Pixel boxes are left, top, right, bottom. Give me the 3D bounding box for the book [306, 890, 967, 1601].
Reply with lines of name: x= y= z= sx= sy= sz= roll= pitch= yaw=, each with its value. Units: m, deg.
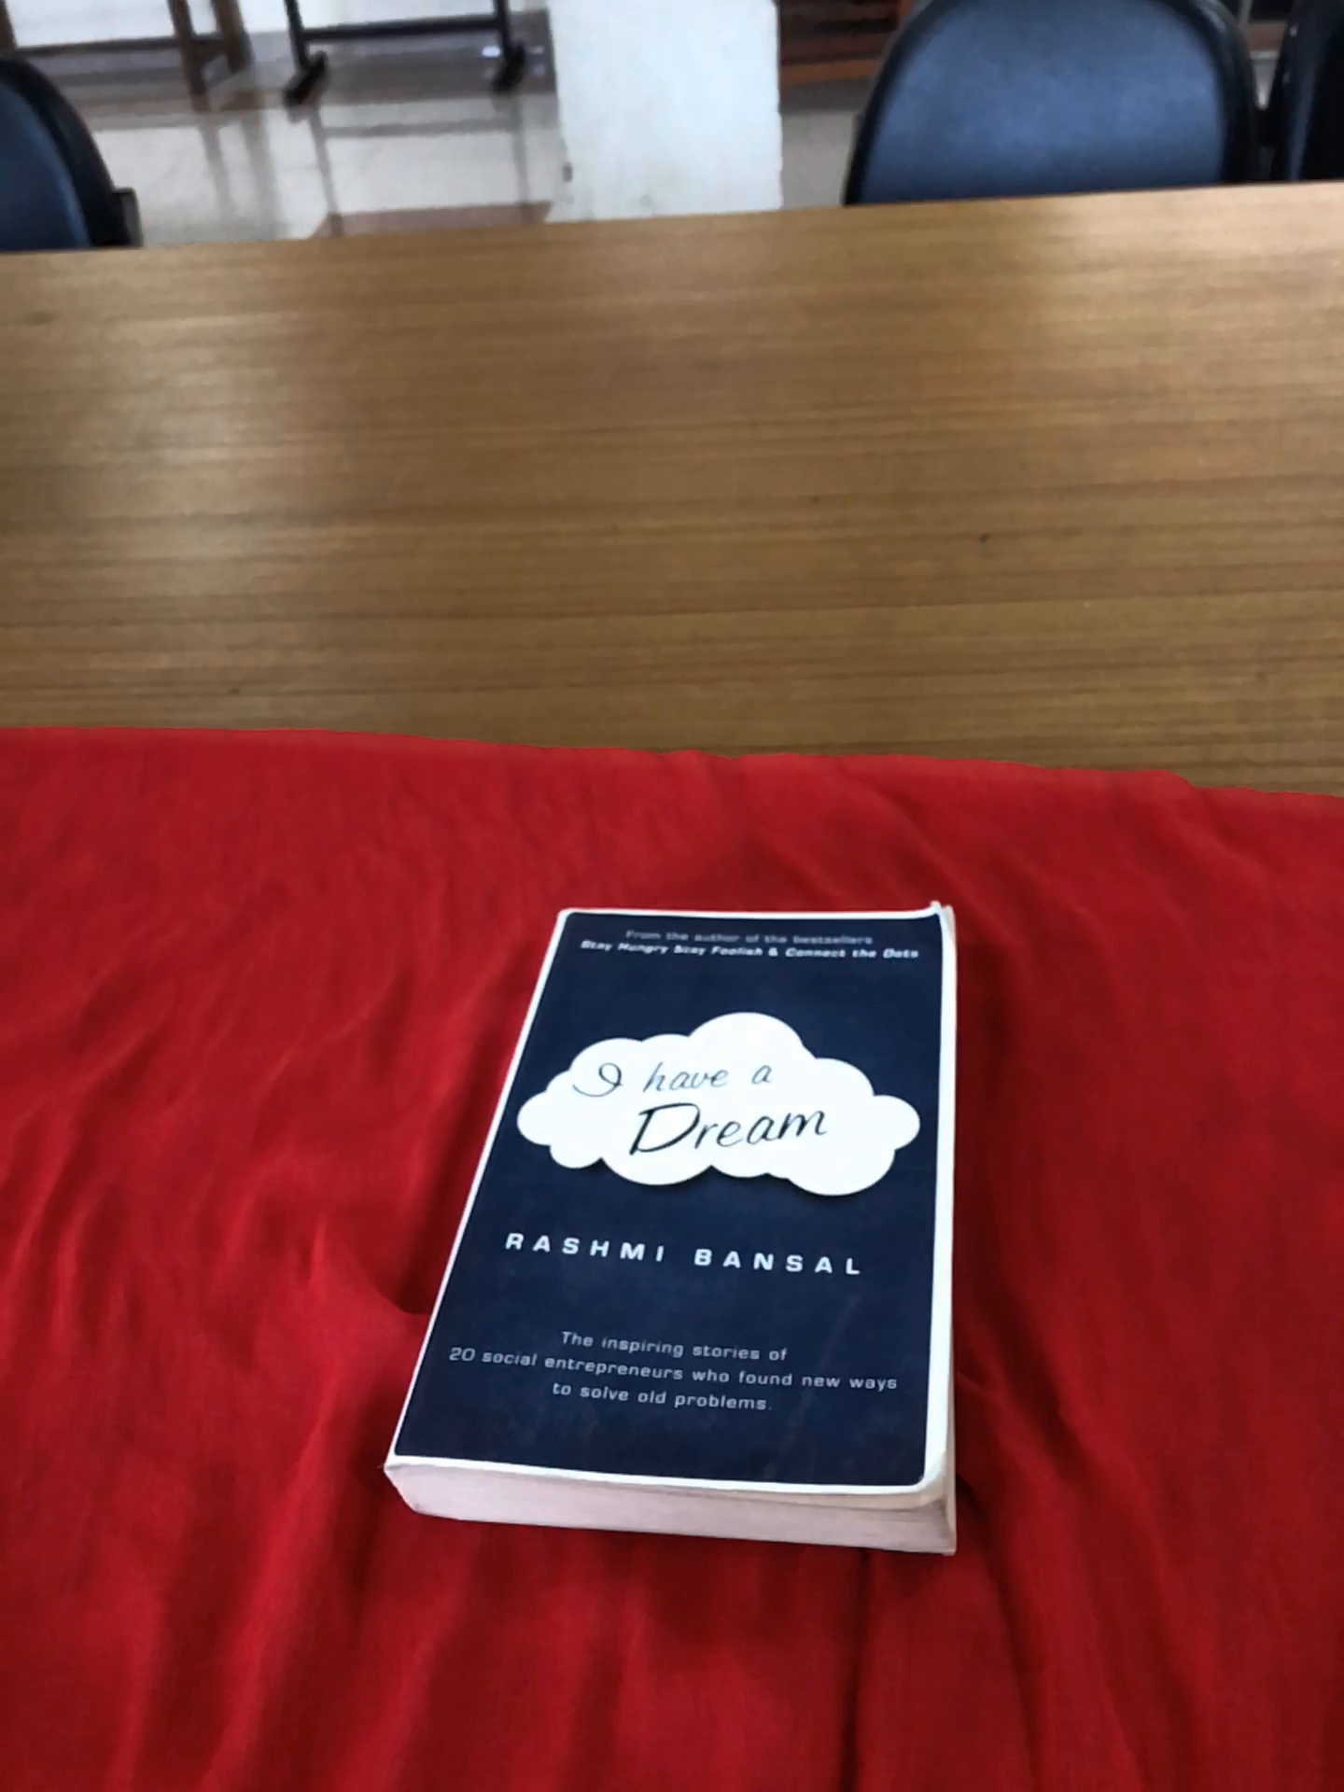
book: x=0.006 y=0.076 z=0.396 sx=0.140 sy=0.040 sz=0.190 roll=-1 pitch=40 yaw=12
